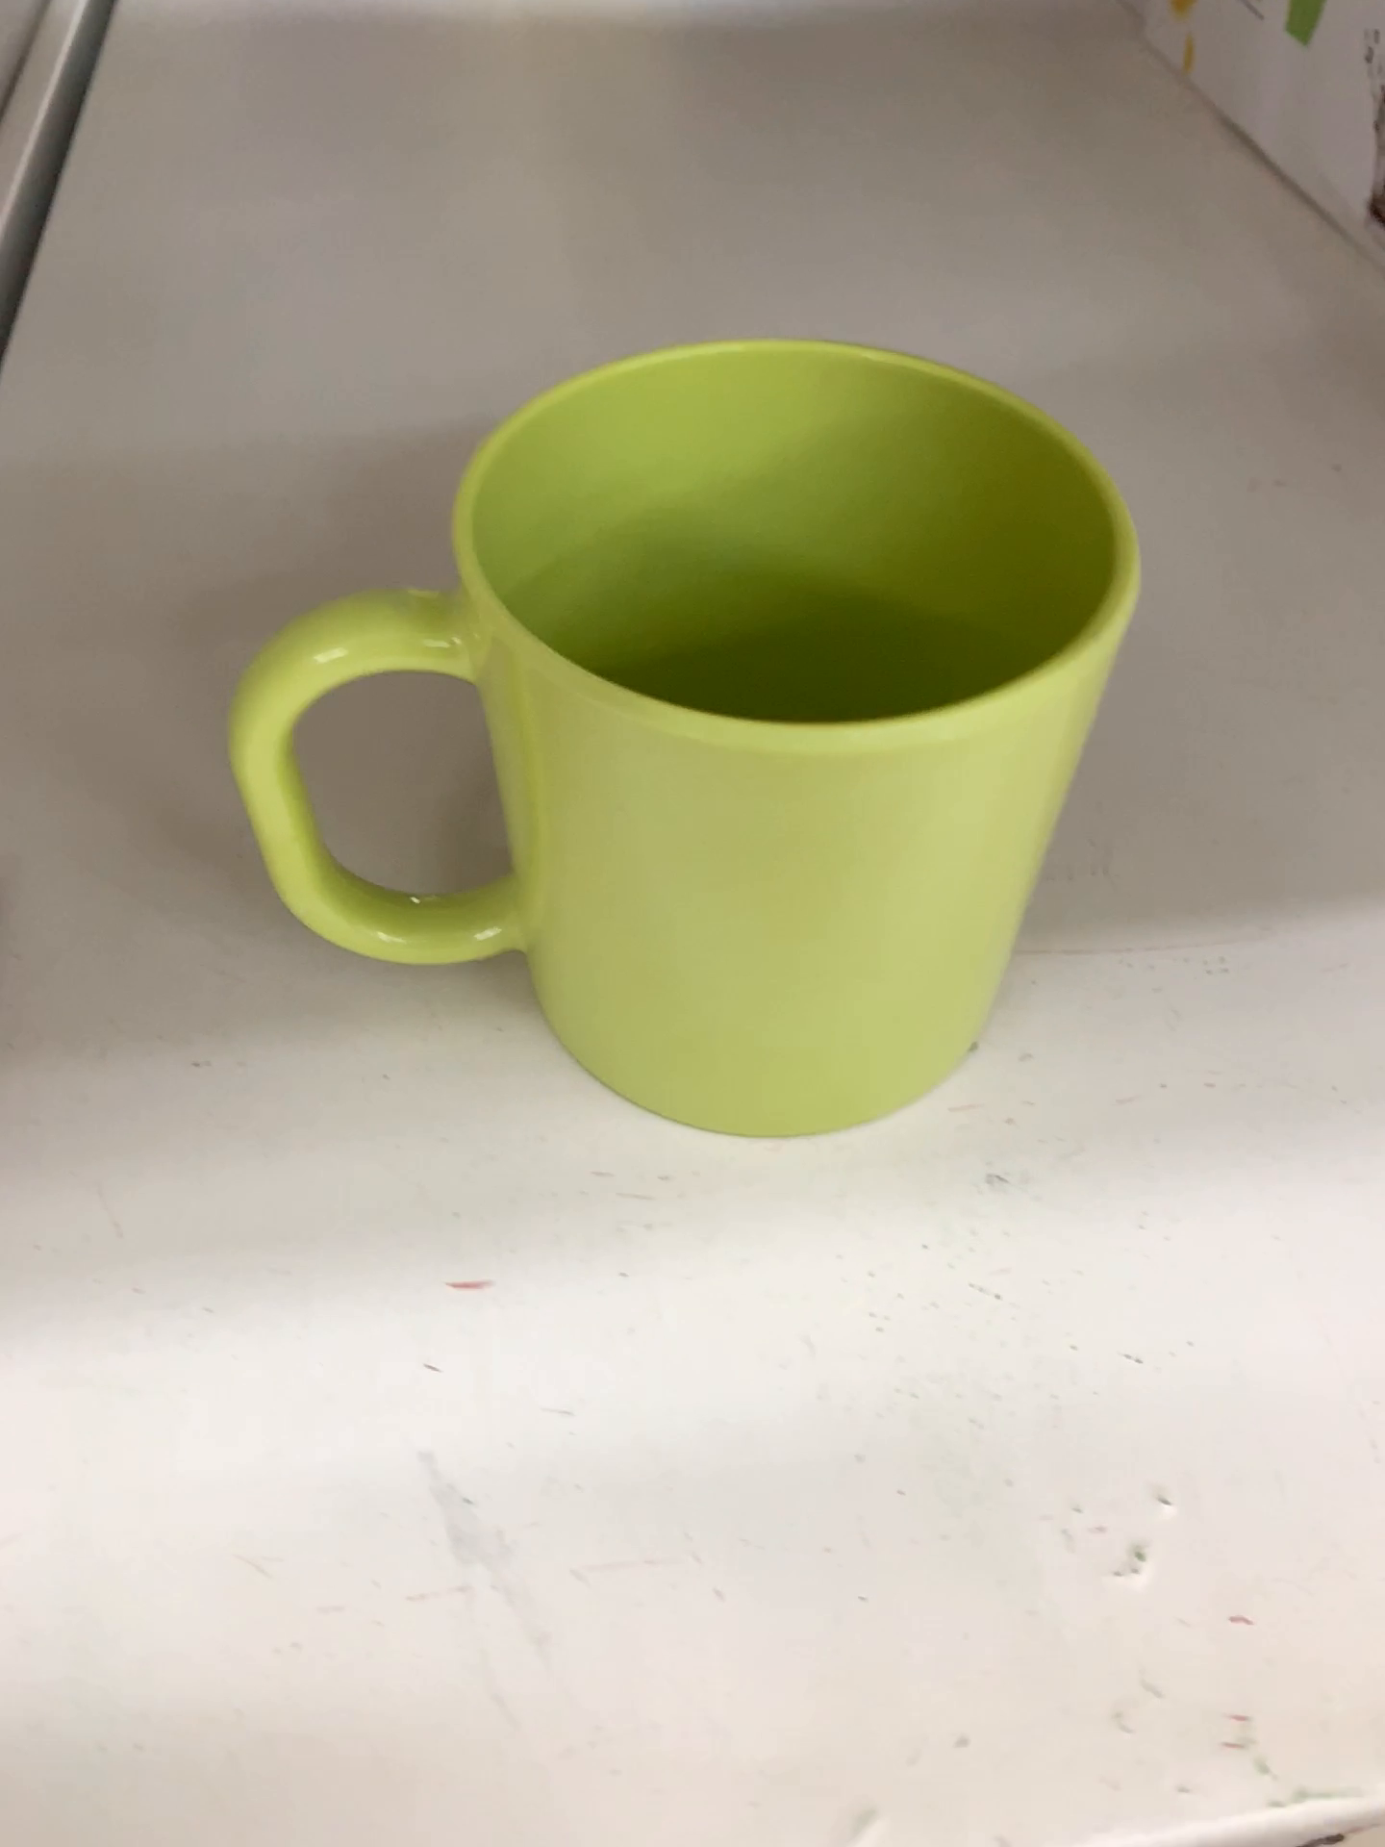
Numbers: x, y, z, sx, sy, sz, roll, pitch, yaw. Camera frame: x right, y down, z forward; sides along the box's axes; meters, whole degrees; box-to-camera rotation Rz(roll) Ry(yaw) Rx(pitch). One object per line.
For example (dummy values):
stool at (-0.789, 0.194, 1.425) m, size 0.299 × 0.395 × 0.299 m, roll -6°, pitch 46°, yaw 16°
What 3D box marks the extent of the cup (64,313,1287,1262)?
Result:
cup at (-0.005, -0.016, 0.167) m, size 0.100 × 0.070 × 0.070 m, roll -6°, pitch 49°, yaw -6°
